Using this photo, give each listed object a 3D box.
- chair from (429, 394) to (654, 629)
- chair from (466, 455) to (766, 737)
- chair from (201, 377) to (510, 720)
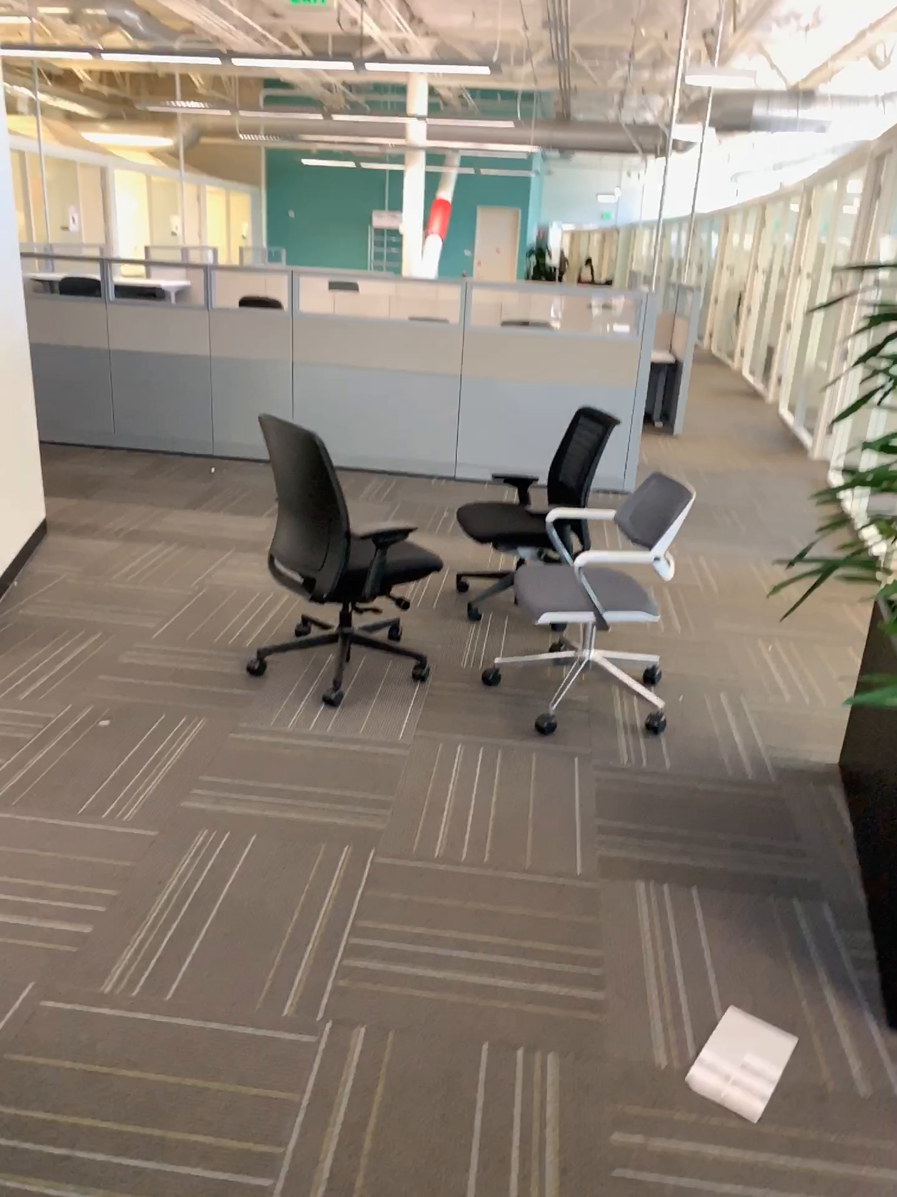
[{"bbox_3d":[0.397,-0.452,4.390,0.760,0.925,0.774,-3,20,-17],"label":"chair"},{"bbox_3d":[0.512,-0.038,3.184,0.760,0.736,0.774,1,21,-7],"label":"chair"},{"bbox_3d":[-0.358,-0.245,3.292,0.761,0.955,0.773,-12,26,-36],"label":"chair"}]
